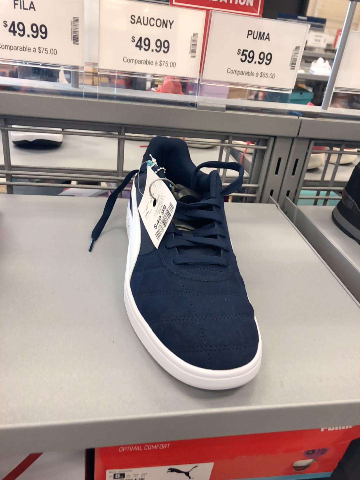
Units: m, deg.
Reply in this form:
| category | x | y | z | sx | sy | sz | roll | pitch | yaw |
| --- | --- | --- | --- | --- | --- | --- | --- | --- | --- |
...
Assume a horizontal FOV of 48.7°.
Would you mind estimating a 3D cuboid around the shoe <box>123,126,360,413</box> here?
| category | x | y | z | sx | sy | sz | roll | pitch | yaw |
| --- | --- | --- | --- | --- | --- | --- | --- | --- | --- |
| shoe | 0.022 | -0.003 | 0.338 | 0.119 | 0.119 | 0.242 | 0 | 29 | -13 |
